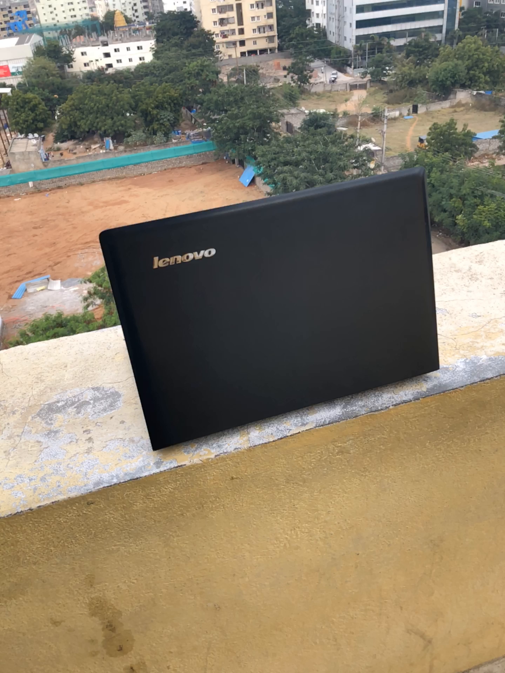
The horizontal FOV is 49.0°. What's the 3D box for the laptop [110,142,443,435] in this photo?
[{"bbox_3d":[0.015,-0.080,0.713,0.333,0.223,0.246,-14,33,-10],"label":"laptop"}]
